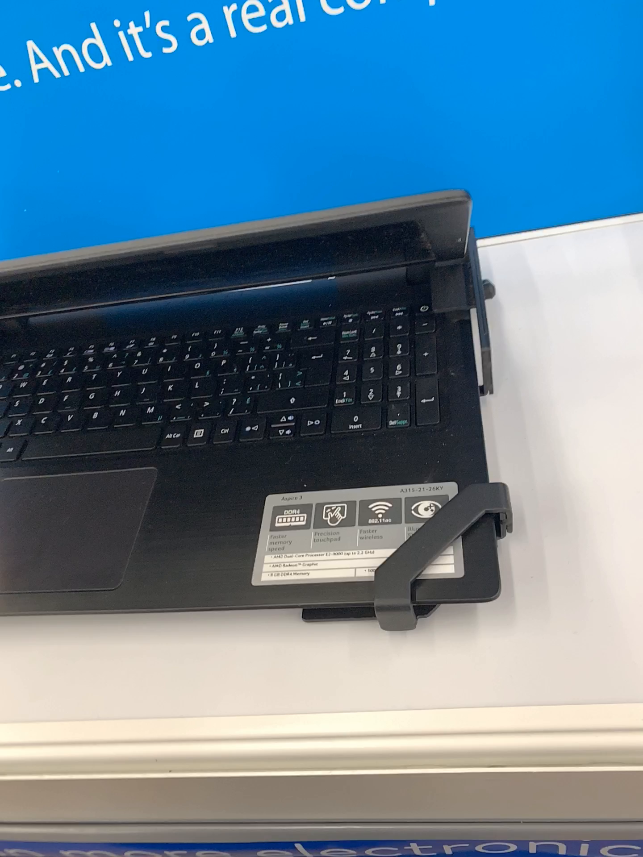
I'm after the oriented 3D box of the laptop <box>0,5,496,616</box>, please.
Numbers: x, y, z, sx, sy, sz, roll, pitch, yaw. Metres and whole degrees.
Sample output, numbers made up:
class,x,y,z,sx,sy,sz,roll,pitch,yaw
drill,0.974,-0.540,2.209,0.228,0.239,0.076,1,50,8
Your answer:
class,x,y,z,sx,sy,sz,roll,pitch,yaw
laptop,-0.111,-0.053,0.340,0.365,0.146,0.234,-5,49,13
